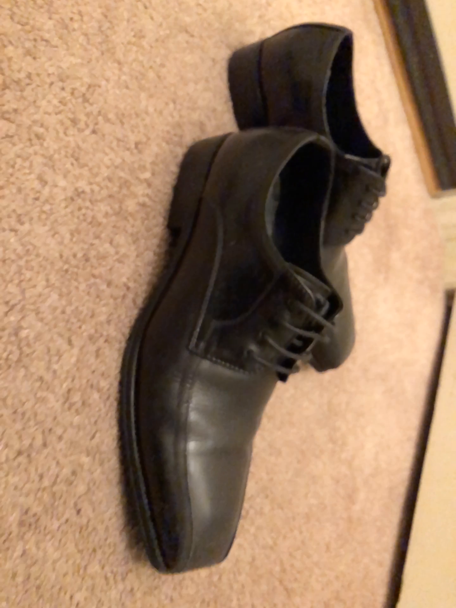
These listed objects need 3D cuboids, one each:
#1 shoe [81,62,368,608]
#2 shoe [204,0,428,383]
[{"bbox_3d":[0.010,0.015,0.332,0.111,0.107,0.283,24,69,-50],"label":"shoe"},{"bbox_3d":[0.091,-0.090,0.469,0.116,0.110,0.297,-32,113,-50],"label":"shoe"}]
